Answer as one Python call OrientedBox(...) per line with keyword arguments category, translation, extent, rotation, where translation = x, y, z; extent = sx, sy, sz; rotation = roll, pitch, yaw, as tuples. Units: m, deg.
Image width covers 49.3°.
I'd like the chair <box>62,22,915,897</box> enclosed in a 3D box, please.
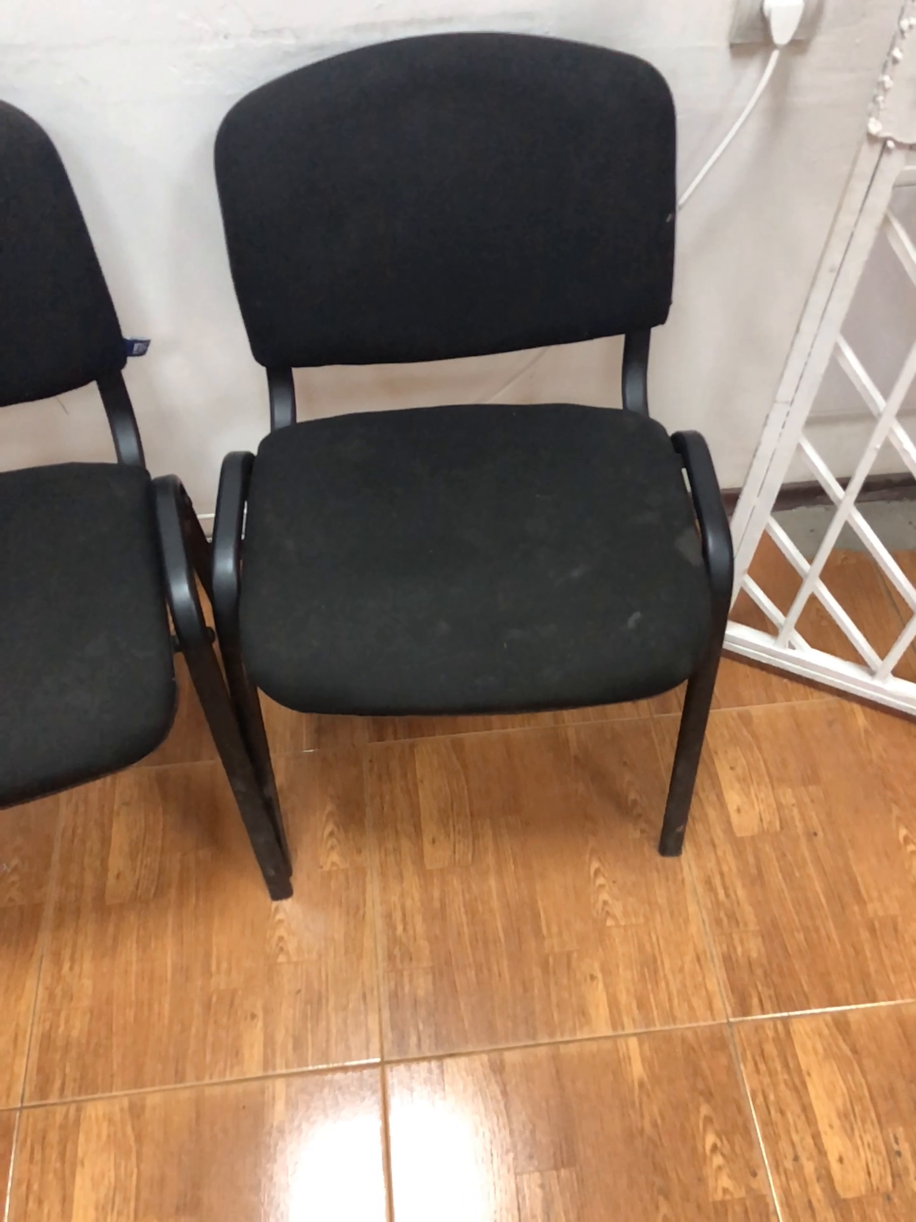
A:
OrientedBox(category="chair", translation=(0.017, -0.130, 1.101), extent=(0.570, 0.688, 0.622), rotation=(-3, 54, -2))
